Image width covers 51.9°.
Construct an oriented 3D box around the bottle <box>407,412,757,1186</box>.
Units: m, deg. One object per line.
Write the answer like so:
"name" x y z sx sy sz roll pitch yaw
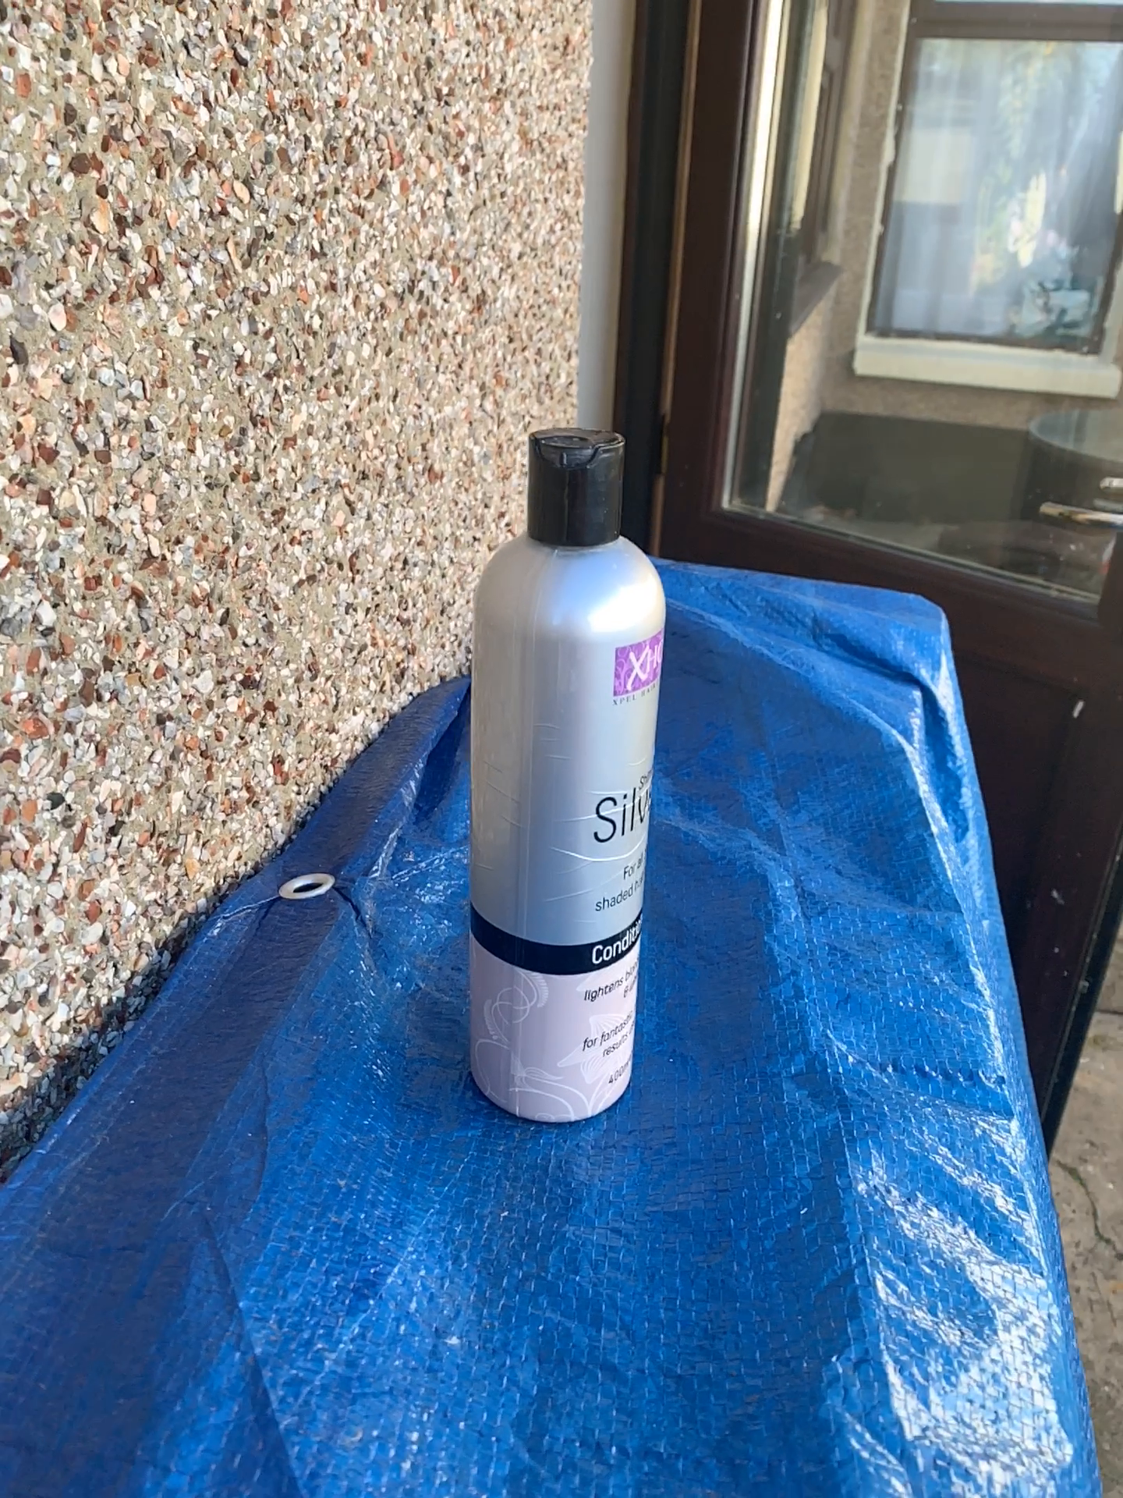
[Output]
"bottle" 0.003 0.015 0.327 0.060 0.198 0.070 16 29 25
